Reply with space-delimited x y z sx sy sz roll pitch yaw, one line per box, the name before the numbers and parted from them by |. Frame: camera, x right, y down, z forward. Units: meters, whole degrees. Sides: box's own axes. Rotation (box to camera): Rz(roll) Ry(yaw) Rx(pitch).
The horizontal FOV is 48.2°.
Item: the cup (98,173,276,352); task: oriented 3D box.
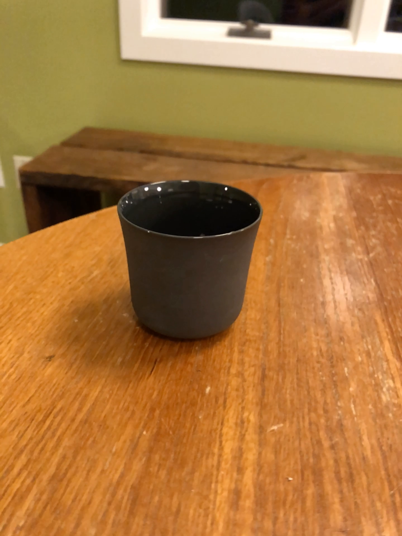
cup | -0.007 -0.006 0.250 0.079 0.068 0.075 2 30 -1
